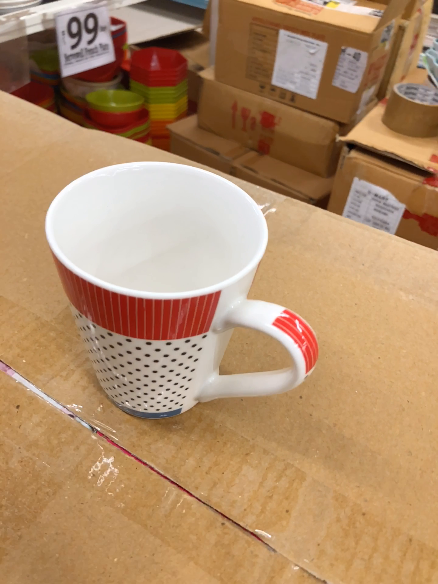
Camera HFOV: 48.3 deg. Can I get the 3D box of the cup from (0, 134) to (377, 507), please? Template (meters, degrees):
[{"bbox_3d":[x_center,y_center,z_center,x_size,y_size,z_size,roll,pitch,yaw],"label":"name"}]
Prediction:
[{"bbox_3d":[-0.013,0.006,0.214,0.120,0.089,0.091,22,46,16],"label":"cup"}]
